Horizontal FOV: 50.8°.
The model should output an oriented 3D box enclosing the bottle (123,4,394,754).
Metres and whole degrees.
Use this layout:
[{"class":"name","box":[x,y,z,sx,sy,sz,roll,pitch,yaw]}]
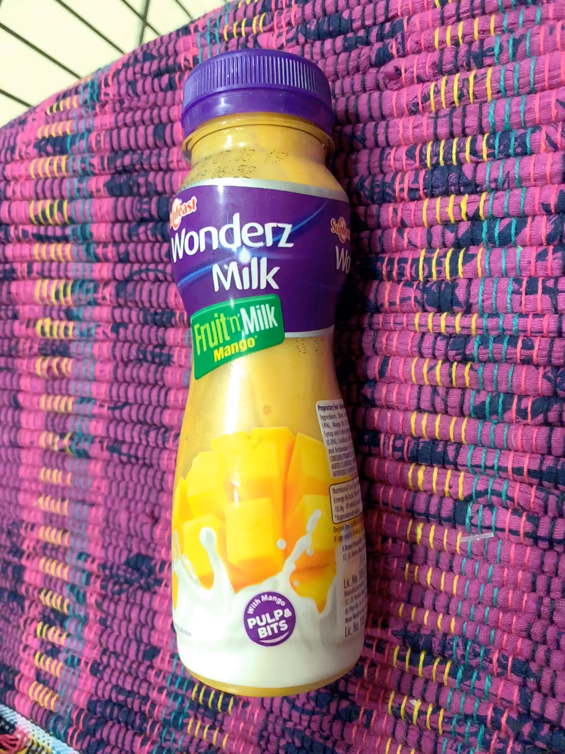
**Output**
[{"class":"bottle","box":[-0.005,0.002,0.145,0.050,0.040,0.150,-3,85,30]}]
